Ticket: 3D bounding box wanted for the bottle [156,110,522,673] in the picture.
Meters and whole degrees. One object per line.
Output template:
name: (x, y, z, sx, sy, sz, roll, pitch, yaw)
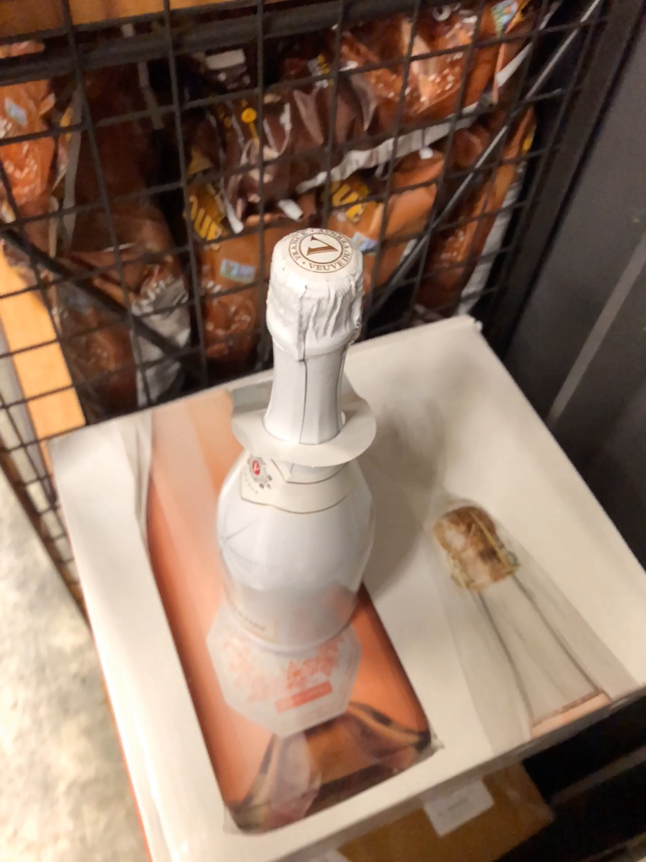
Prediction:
bottle: (-0.007, 0.015, 0.366, 0.094, 0.310, 0.086, 2, 54, -3)
